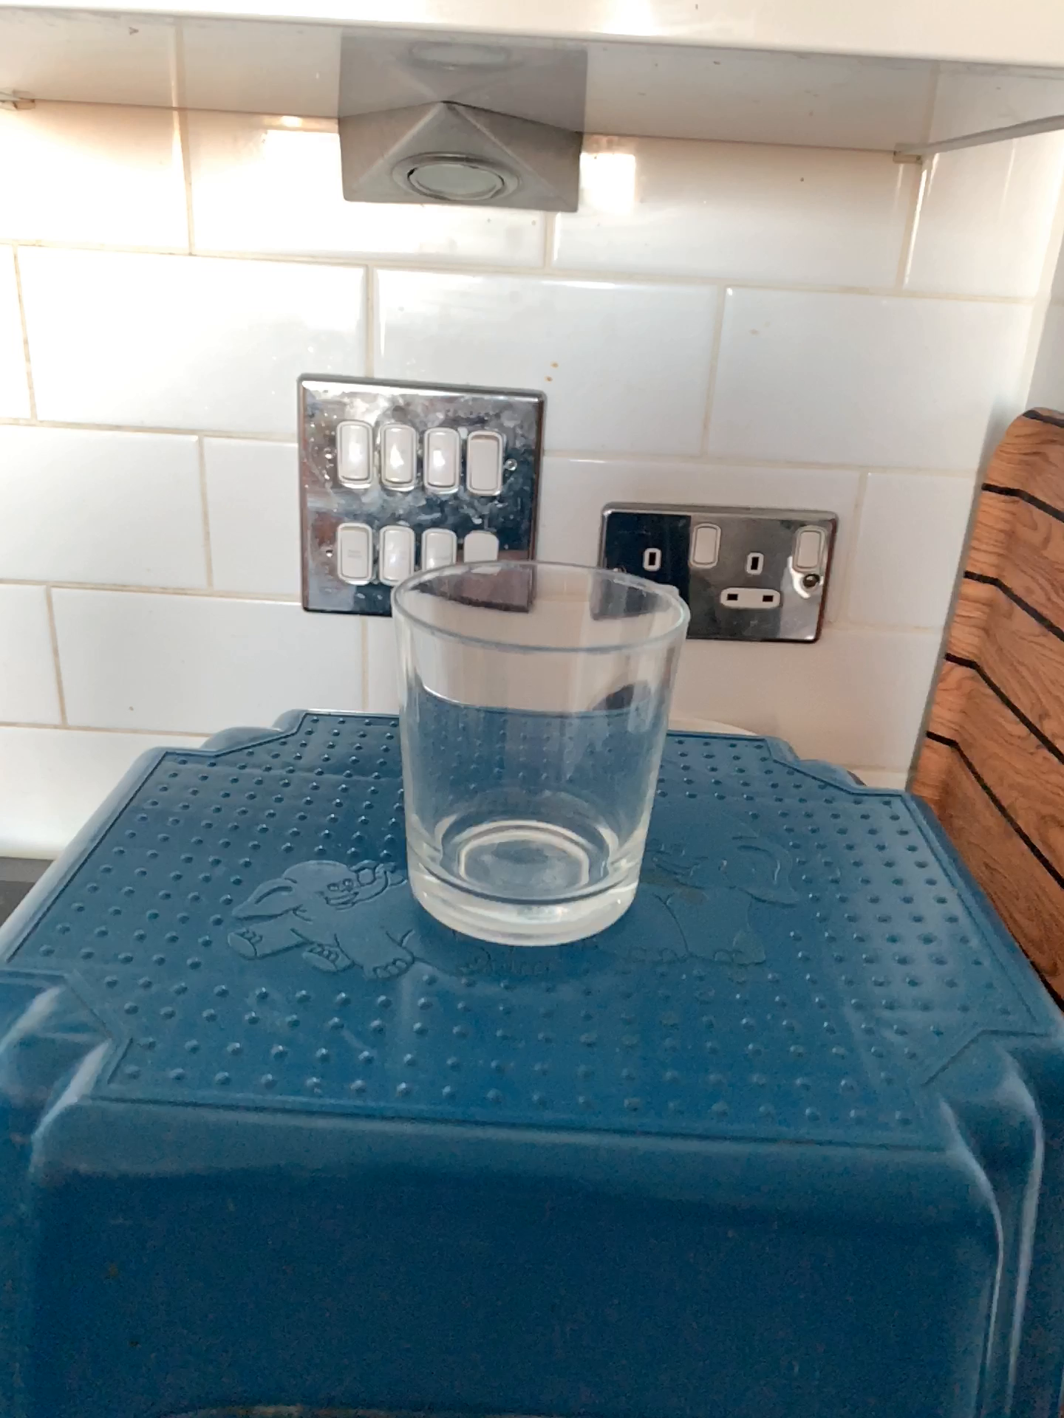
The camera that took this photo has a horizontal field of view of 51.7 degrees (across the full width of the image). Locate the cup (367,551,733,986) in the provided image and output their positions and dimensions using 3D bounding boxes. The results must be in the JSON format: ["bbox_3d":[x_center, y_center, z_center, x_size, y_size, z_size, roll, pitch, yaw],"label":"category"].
[{"bbox_3d":[0.005,0.011,0.300,0.076,0.085,0.067,12,24,19],"label":"cup"}]
